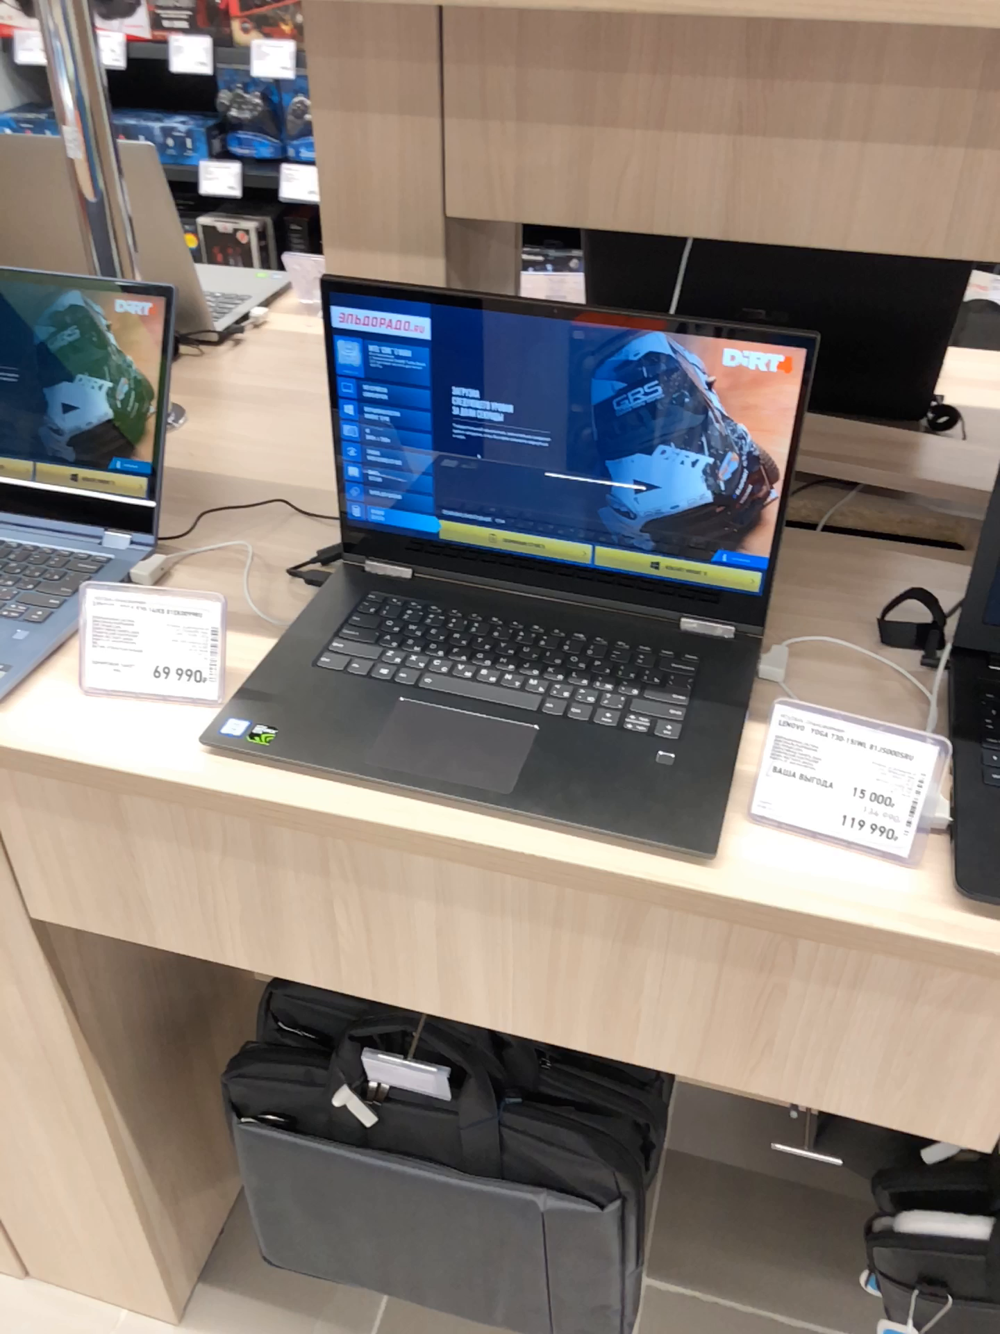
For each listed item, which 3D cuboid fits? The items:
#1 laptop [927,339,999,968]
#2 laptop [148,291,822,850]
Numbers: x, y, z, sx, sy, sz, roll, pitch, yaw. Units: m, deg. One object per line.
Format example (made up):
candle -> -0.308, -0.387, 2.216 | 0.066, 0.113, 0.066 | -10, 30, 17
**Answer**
laptop -> 0.473, -0.036, 0.659 | 0.305, 0.238, 0.309 | 11, 35, 21
laptop -> 0.005, -0.086, 0.766 | 0.358, 0.240, 0.253 | 11, 37, 15
